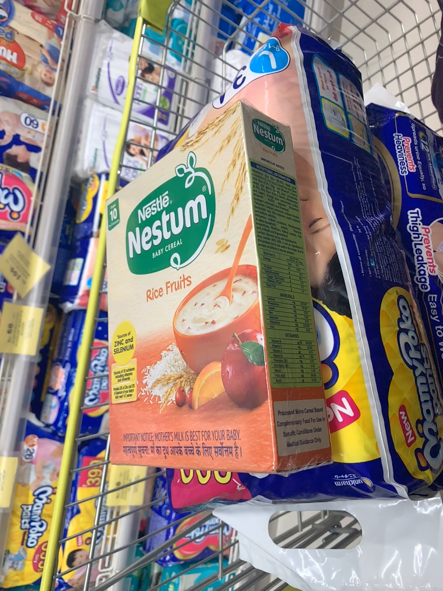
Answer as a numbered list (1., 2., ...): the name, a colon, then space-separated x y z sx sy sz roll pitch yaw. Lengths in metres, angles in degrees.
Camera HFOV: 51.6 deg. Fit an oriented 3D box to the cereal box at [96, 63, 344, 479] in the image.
1. cereal box: -0.019 -0.002 0.296 0.161 0.050 0.210 -19 71 46
